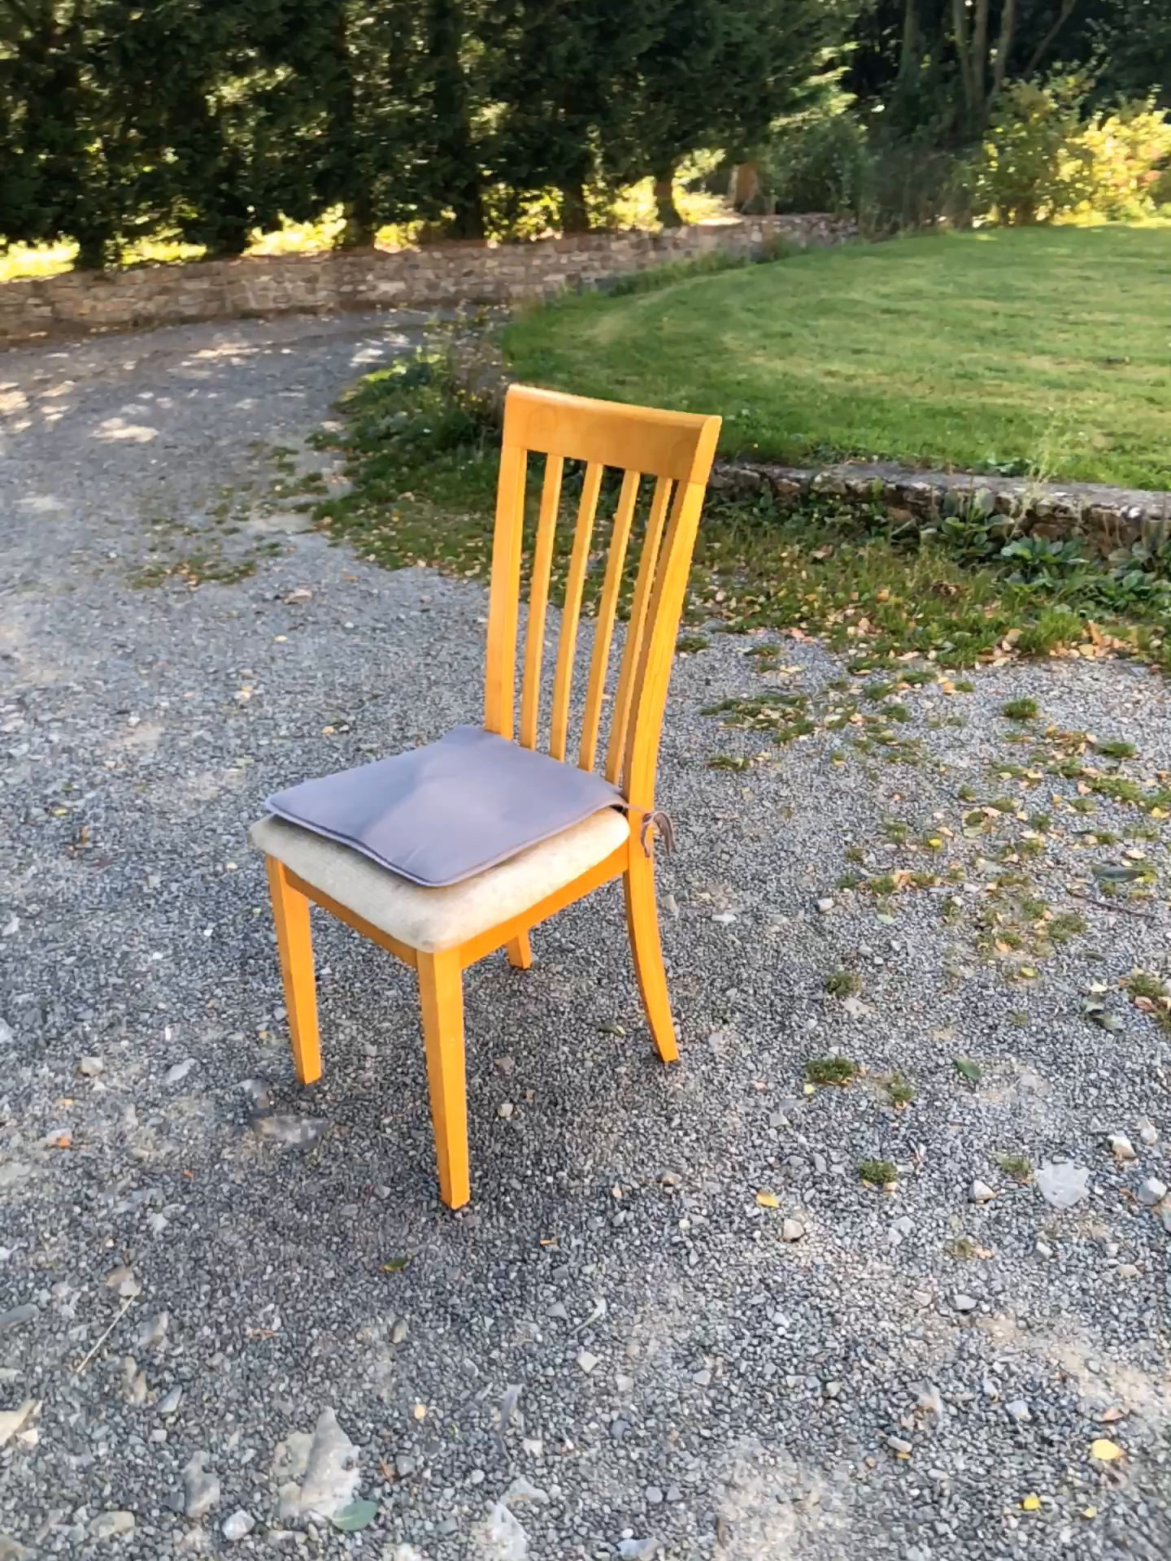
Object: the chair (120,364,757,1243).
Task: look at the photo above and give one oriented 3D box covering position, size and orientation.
[{"bbox_3d":[-0.170,-0.010,1.831,0.510,0.994,0.613,24,36,39],"label":"chair"}]
